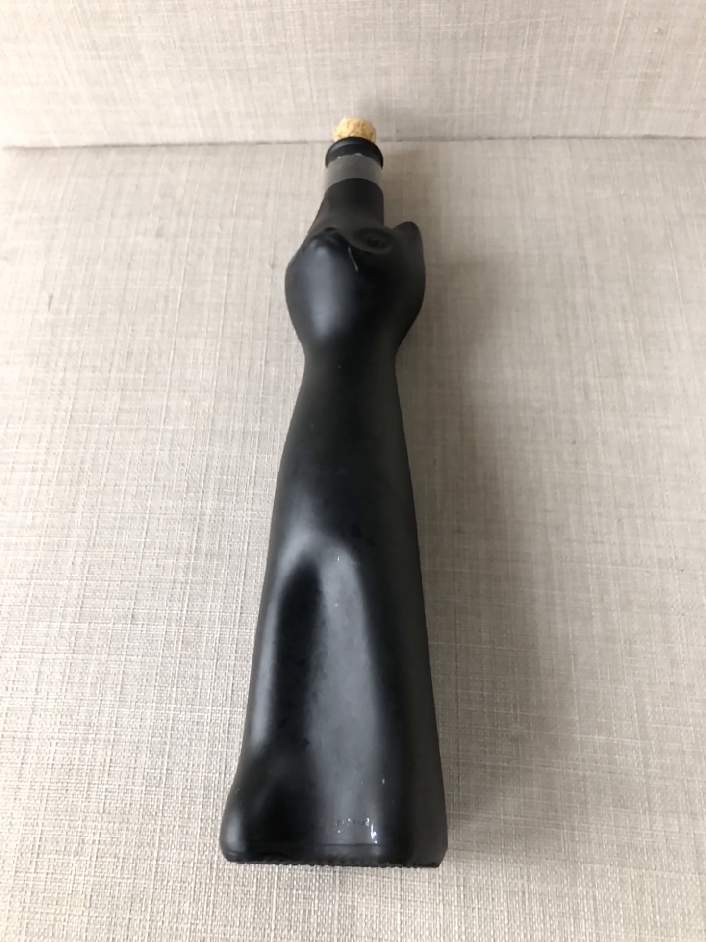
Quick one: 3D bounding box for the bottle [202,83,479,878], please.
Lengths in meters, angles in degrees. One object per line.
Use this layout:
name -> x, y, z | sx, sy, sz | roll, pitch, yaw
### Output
bottle -> -0.001, -0.013, 0.320 | 0.077, 0.080, 0.312 | 0, 66, 2
